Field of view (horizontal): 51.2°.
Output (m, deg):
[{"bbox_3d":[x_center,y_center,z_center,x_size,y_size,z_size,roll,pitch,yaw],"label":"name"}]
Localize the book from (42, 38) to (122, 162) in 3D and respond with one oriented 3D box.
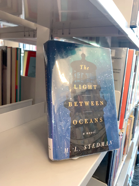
[{"bbox_3d":[0.026,0.008,0.313,0.155,0.225,0.042,-1,-8,-23],"label":"book"}]
